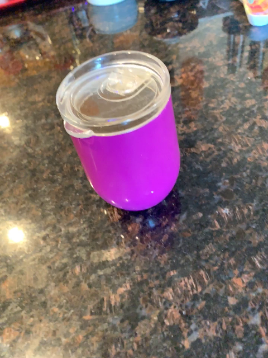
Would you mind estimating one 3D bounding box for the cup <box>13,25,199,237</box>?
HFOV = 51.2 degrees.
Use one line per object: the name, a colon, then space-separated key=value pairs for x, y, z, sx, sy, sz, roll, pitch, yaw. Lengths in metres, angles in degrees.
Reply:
cup: x=-0.016 y=-0.035 z=0.223 sx=0.090 sy=0.110 sz=0.090 roll=-5 pitch=54 yaw=7
